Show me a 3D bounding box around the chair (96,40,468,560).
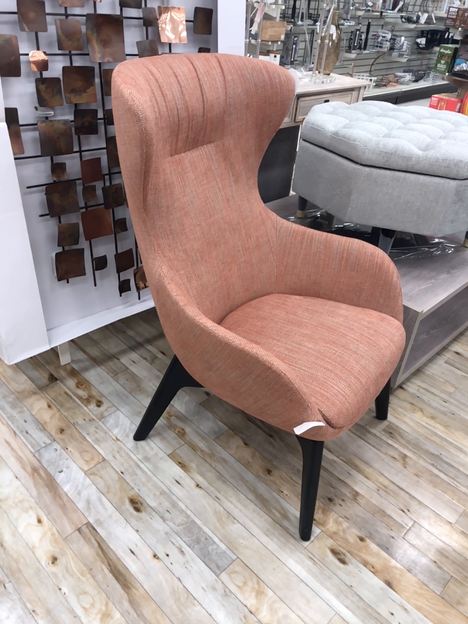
[{"bbox_3d":[0.176,-0.099,1.429,0.751,1.065,0.692,23,37,26],"label":"chair"}]
